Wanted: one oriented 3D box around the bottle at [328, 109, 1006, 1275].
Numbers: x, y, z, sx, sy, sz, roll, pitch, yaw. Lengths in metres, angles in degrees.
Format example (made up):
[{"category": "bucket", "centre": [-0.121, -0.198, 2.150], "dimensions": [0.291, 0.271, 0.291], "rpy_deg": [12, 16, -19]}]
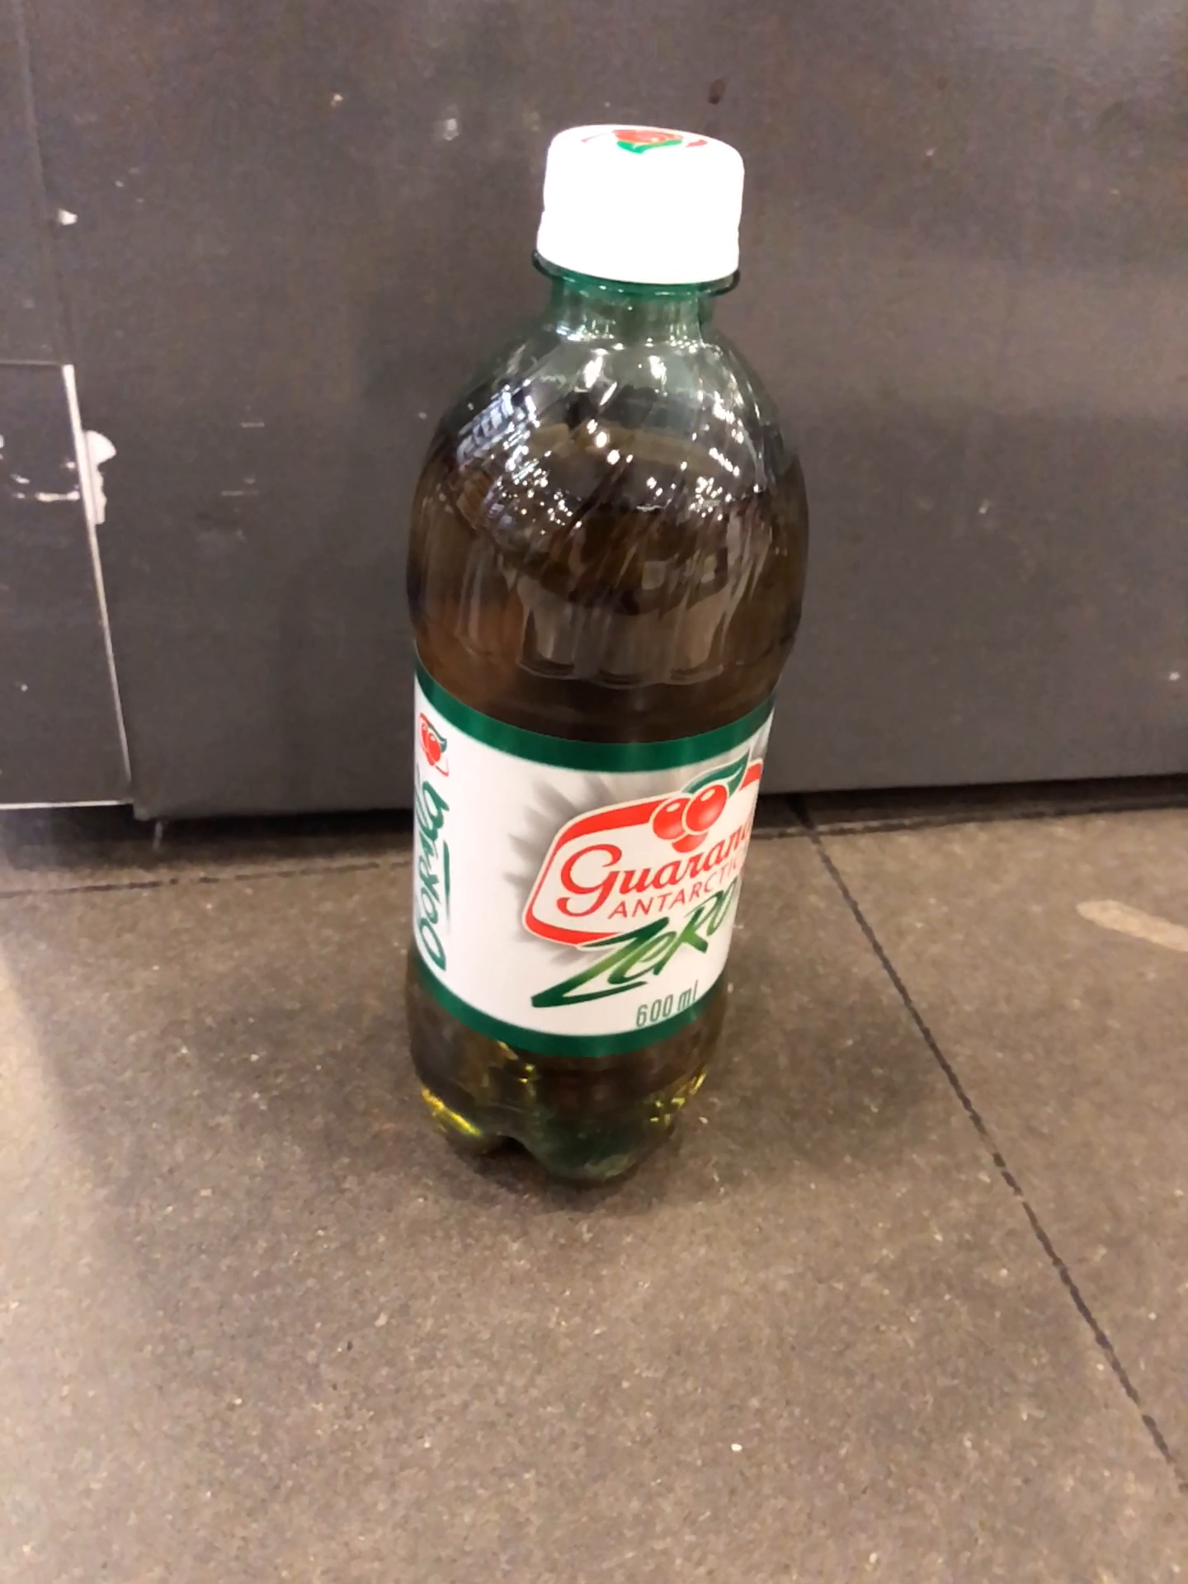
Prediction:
[{"category": "bottle", "centre": [-0.001, -0.011, 0.259], "dimensions": [0.080, 0.208, 0.070], "rpy_deg": [-11, 38, -23]}]
